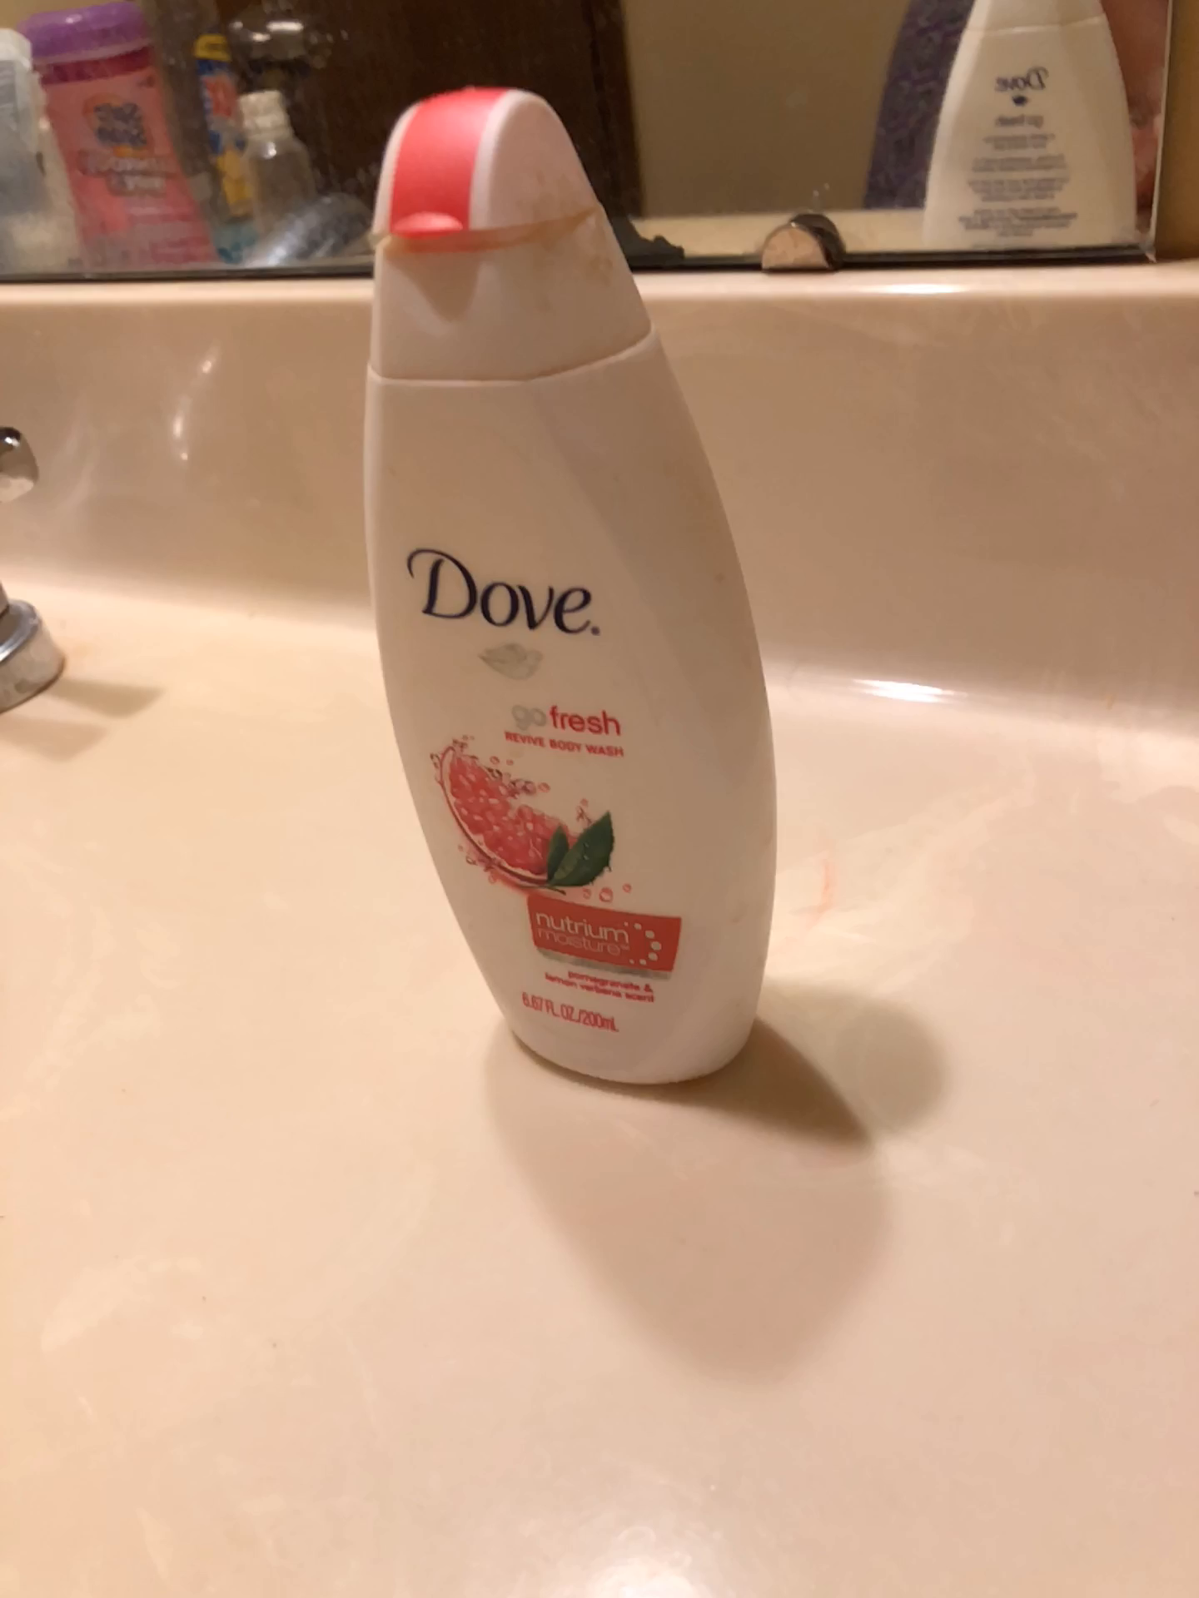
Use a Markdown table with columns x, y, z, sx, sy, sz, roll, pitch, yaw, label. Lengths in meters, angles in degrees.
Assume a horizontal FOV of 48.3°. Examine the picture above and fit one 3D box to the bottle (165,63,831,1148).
| x | y | z | sx | sy | sz | roll | pitch | yaw | label |
| --- | --- | --- | --- | --- | --- | --- | --- | --- | --- |
| -0.006 | -0.023 | 0.216 | 0.070 | 0.160 | 0.040 | 11 | 38 | 28 | bottle |
